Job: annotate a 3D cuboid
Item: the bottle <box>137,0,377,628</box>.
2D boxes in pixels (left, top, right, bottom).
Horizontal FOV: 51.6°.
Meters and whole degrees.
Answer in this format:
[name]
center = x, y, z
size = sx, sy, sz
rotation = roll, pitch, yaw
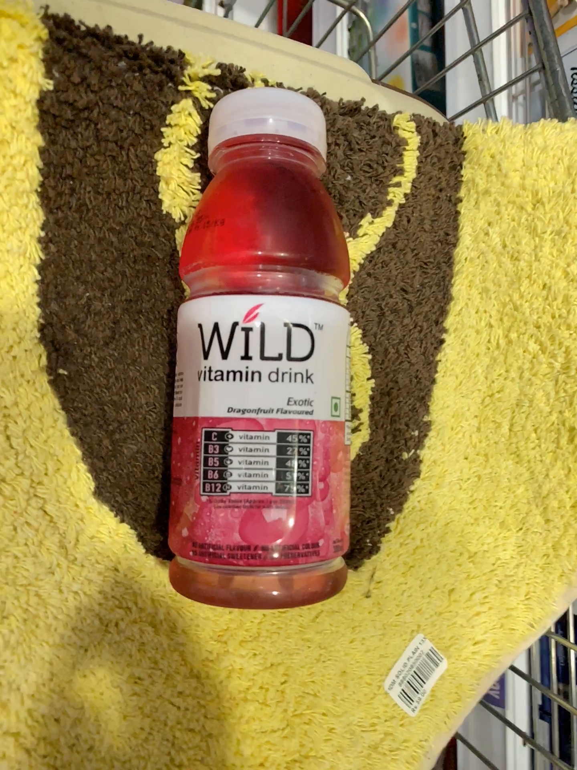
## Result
[bottle]
center = -0.009, -0.022, 0.184
size = 0.060, 0.050, 0.170
rotation = 0, 84, -4
